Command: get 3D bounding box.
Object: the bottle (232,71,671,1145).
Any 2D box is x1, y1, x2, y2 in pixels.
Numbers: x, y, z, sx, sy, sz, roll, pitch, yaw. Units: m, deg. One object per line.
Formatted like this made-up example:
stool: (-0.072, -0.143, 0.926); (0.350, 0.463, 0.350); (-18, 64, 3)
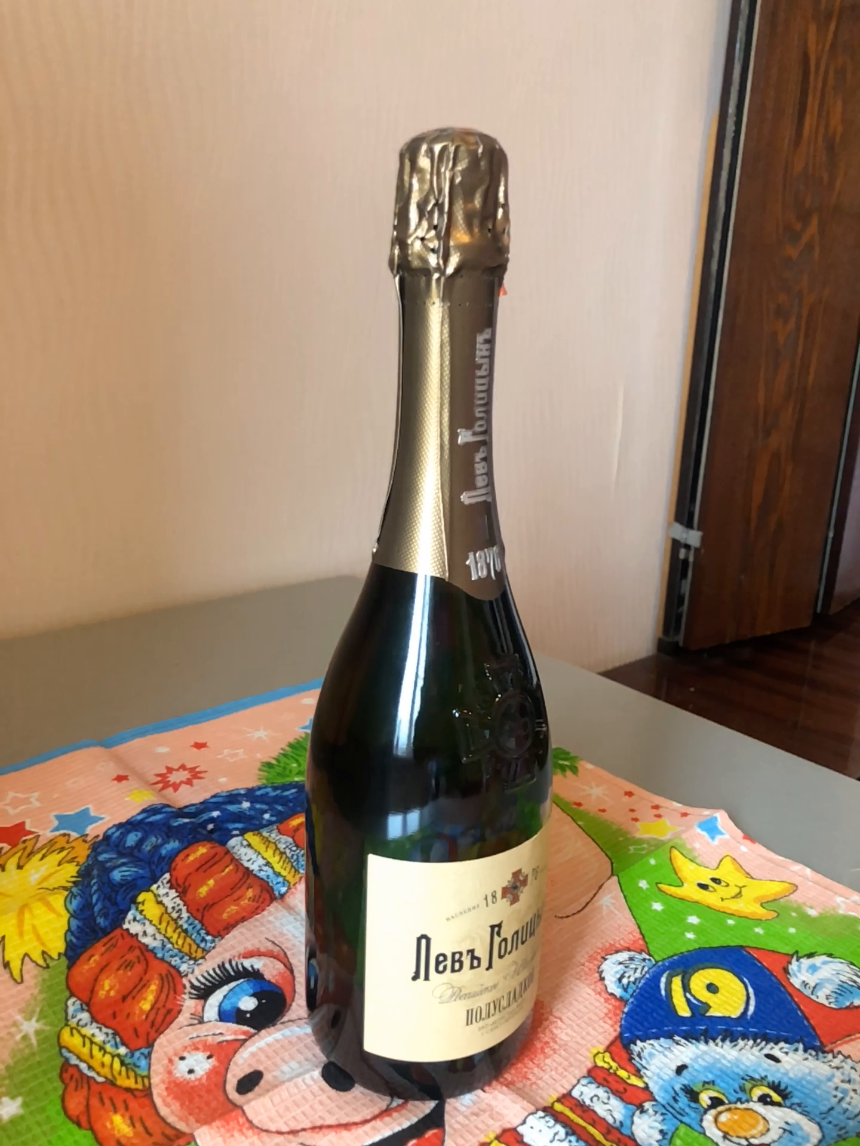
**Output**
bottle: (0.000, 0.016, 0.320); (0.090, 0.309, 0.093); (2, 16, 0)
